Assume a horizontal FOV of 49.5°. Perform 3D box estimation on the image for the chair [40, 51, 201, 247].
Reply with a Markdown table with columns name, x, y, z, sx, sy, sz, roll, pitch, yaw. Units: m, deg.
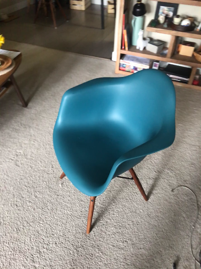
| name | x | y | z | sx | sy | sz | roll | pitch | yaw |
| --- | --- | --- | --- | --- | --- | --- | --- | --- | --- |
| chair | 0.068 | 0.065 | 1.226 | 0.562 | 0.784 | 0.582 | -17 | 46 | -23 |
